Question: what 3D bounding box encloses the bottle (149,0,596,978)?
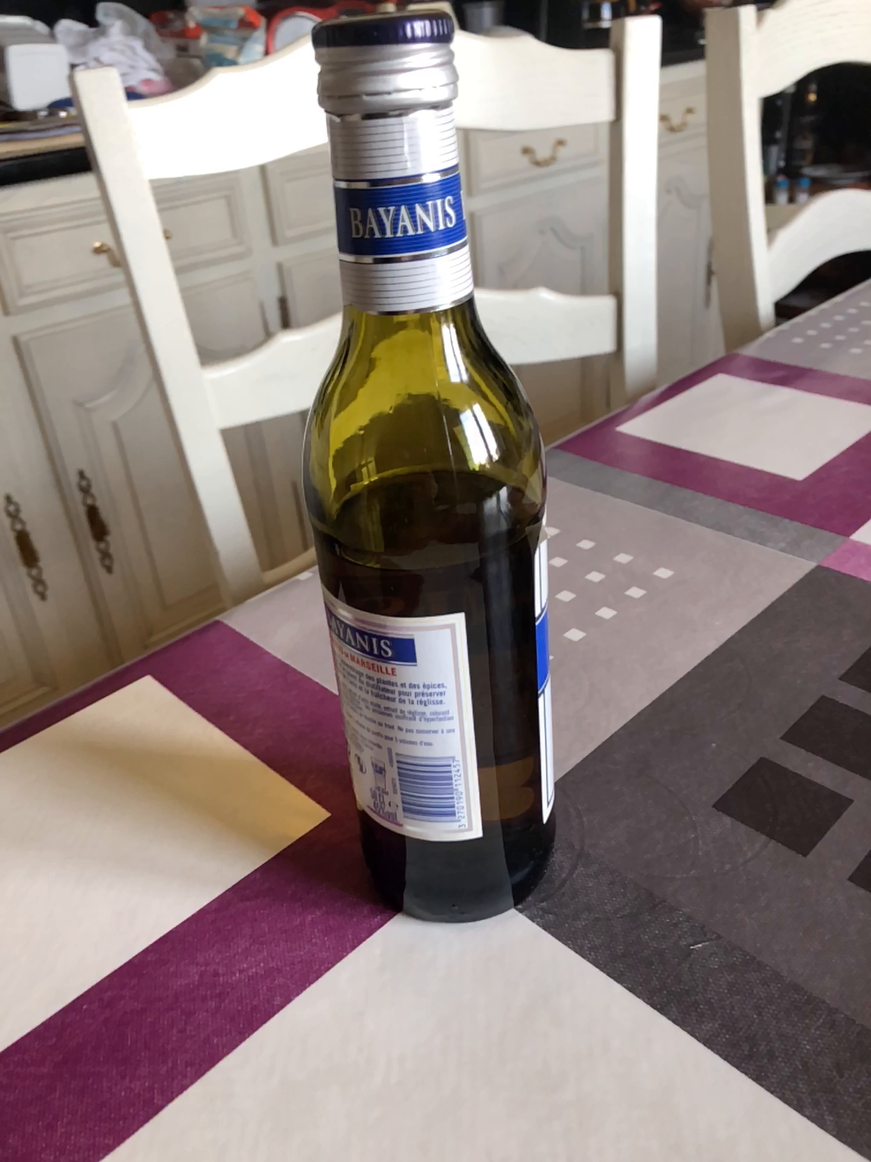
[{"bbox_3d":[-0.003,-0.013,0.278,0.070,0.259,0.070,-4,30,2],"label":"bottle"}]
